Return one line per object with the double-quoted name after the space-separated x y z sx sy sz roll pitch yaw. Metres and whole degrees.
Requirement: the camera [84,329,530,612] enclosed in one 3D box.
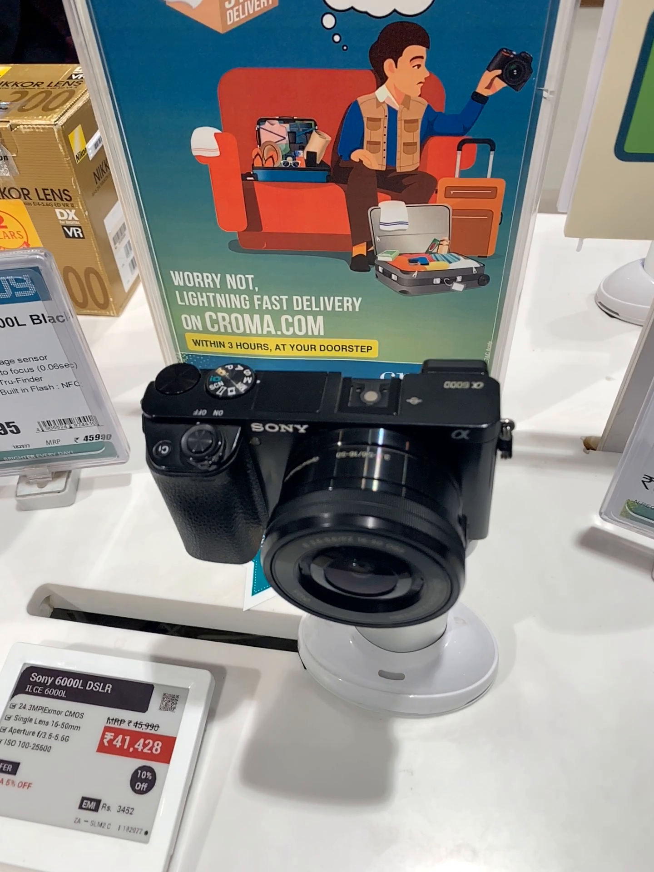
-0.003 0.012 0.222 0.118 0.073 0.056 1 46 5 "camera"
